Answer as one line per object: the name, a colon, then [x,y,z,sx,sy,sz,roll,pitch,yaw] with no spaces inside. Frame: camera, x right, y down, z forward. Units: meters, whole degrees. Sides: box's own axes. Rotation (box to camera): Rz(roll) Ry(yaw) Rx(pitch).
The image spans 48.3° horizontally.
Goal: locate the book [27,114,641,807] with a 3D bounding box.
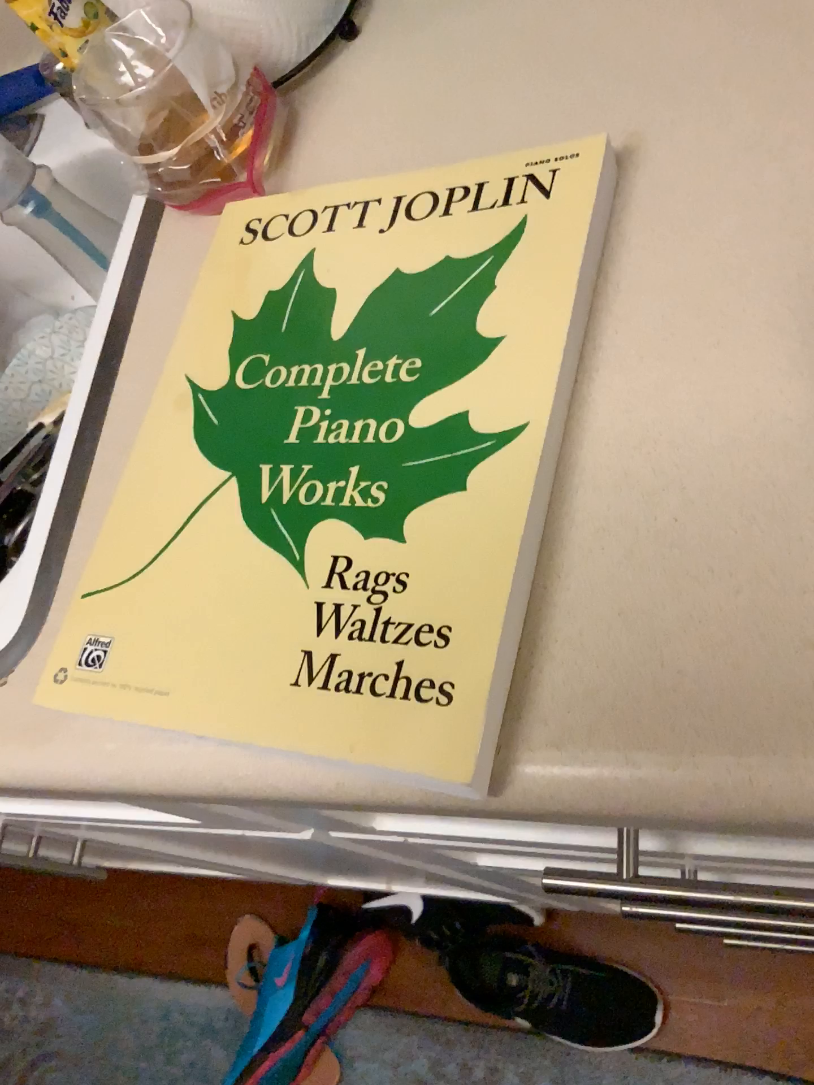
book: [-0.033,-0.057,0.445,0.240,0.030,0.320,3,67,29]
